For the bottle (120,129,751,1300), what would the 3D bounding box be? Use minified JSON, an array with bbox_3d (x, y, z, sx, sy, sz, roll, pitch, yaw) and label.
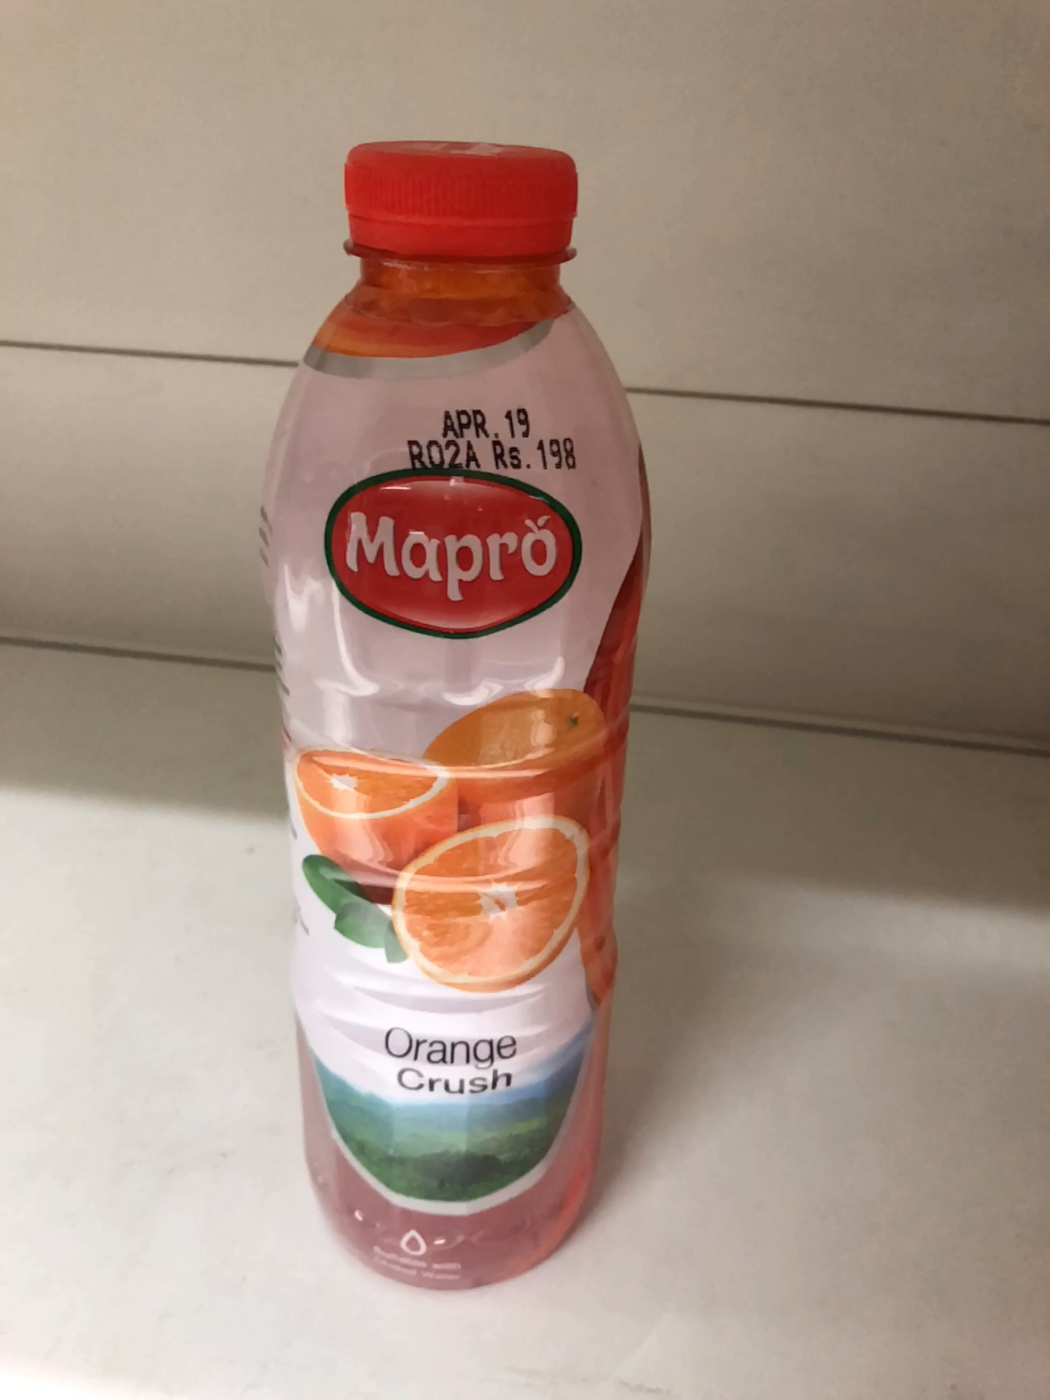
[{"bbox_3d":[-0.017,0.017,0.257,0.090,0.248,0.070,2,28,-1],"label":"bottle"}]
